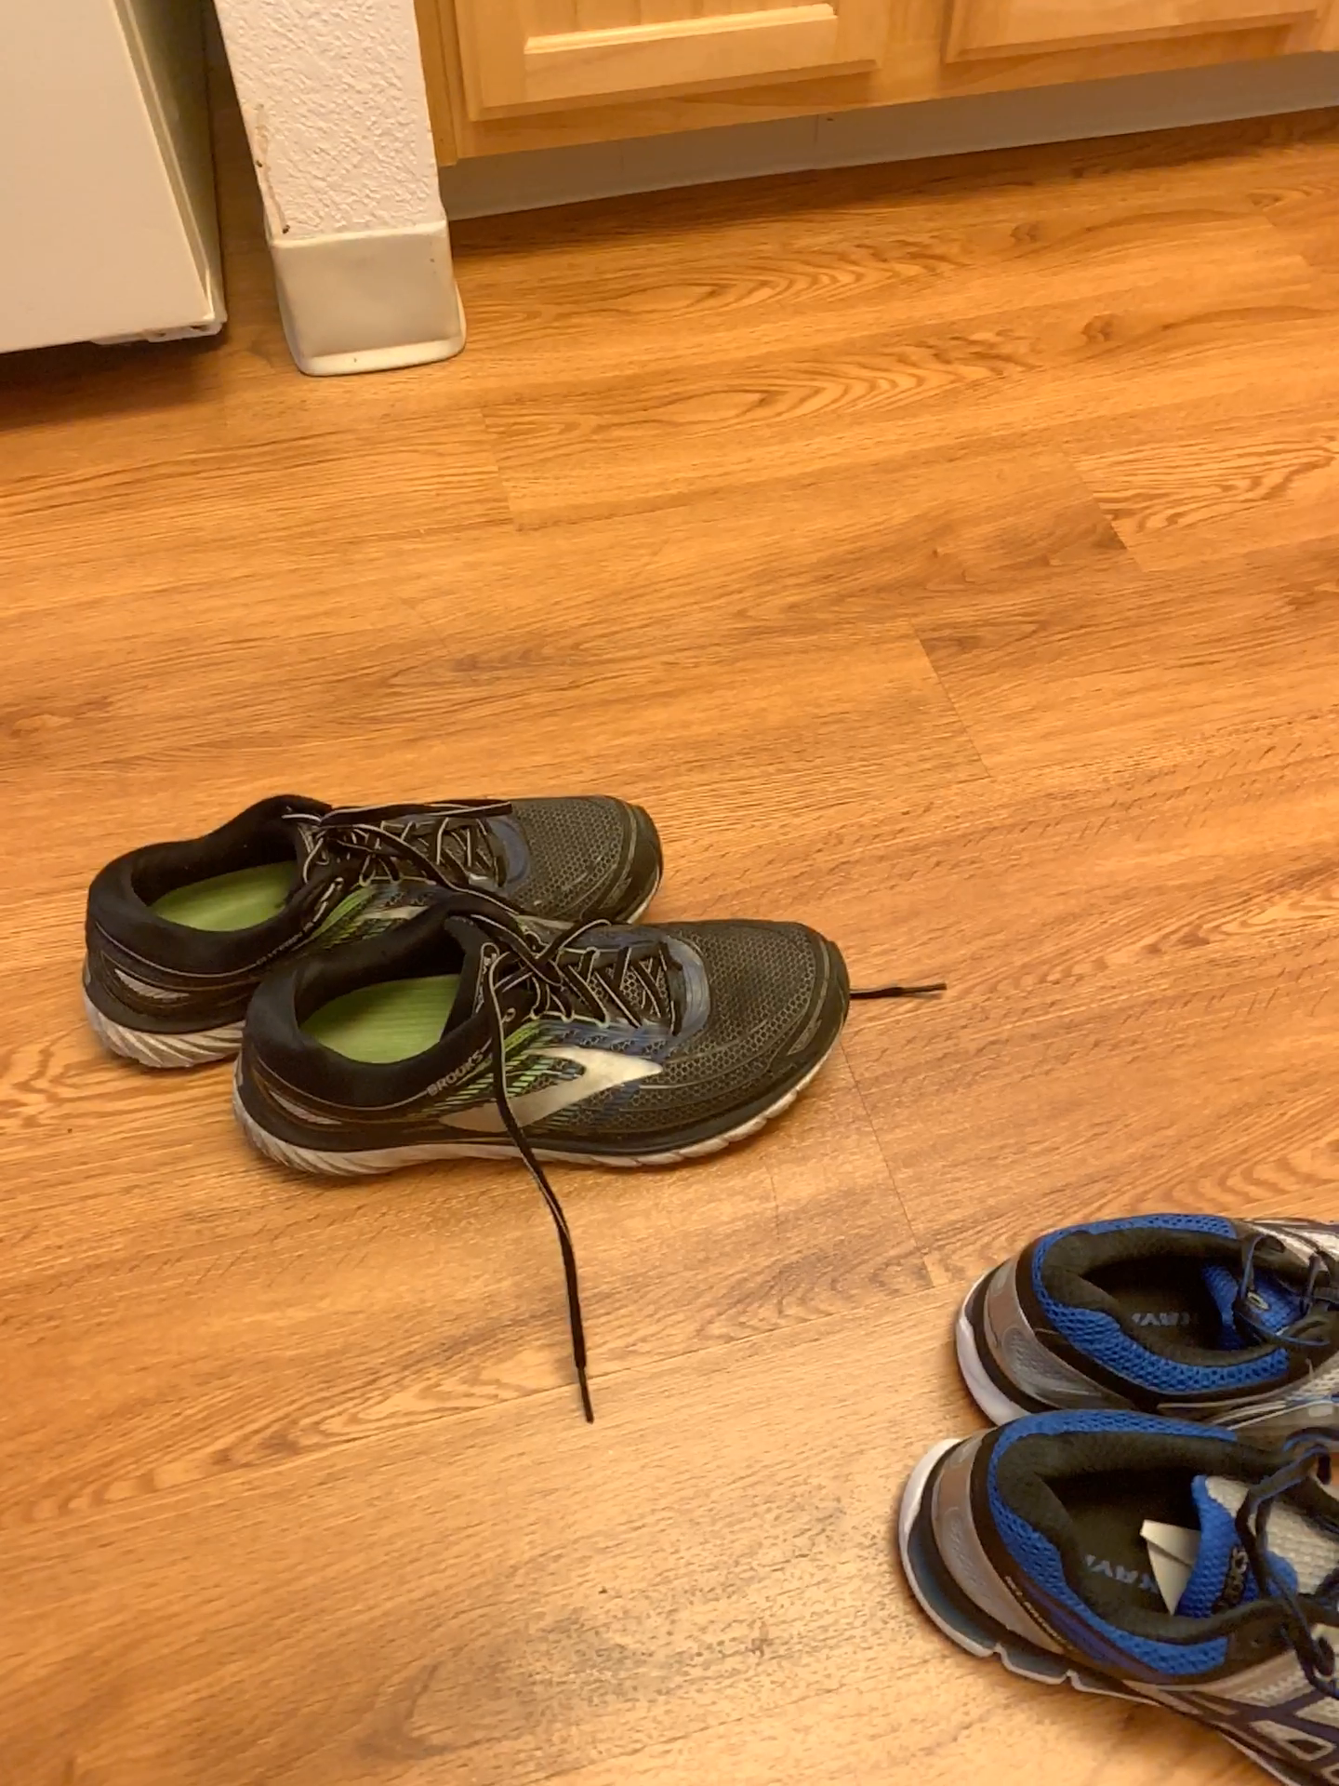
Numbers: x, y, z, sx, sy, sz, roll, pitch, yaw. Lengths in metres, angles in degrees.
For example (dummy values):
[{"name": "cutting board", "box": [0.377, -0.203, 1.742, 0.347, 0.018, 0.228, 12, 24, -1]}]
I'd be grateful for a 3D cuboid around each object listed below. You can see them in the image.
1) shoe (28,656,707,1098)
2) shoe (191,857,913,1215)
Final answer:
[{"name": "shoe", "box": [-0.145, -0.010, 0.706, 0.310, 0.120, 0.100, -16, 56, -11]}, {"name": "shoe", "box": [-0.053, 0.071, 0.665, 0.310, 0.120, 0.100, -5, 54, -3]}]
